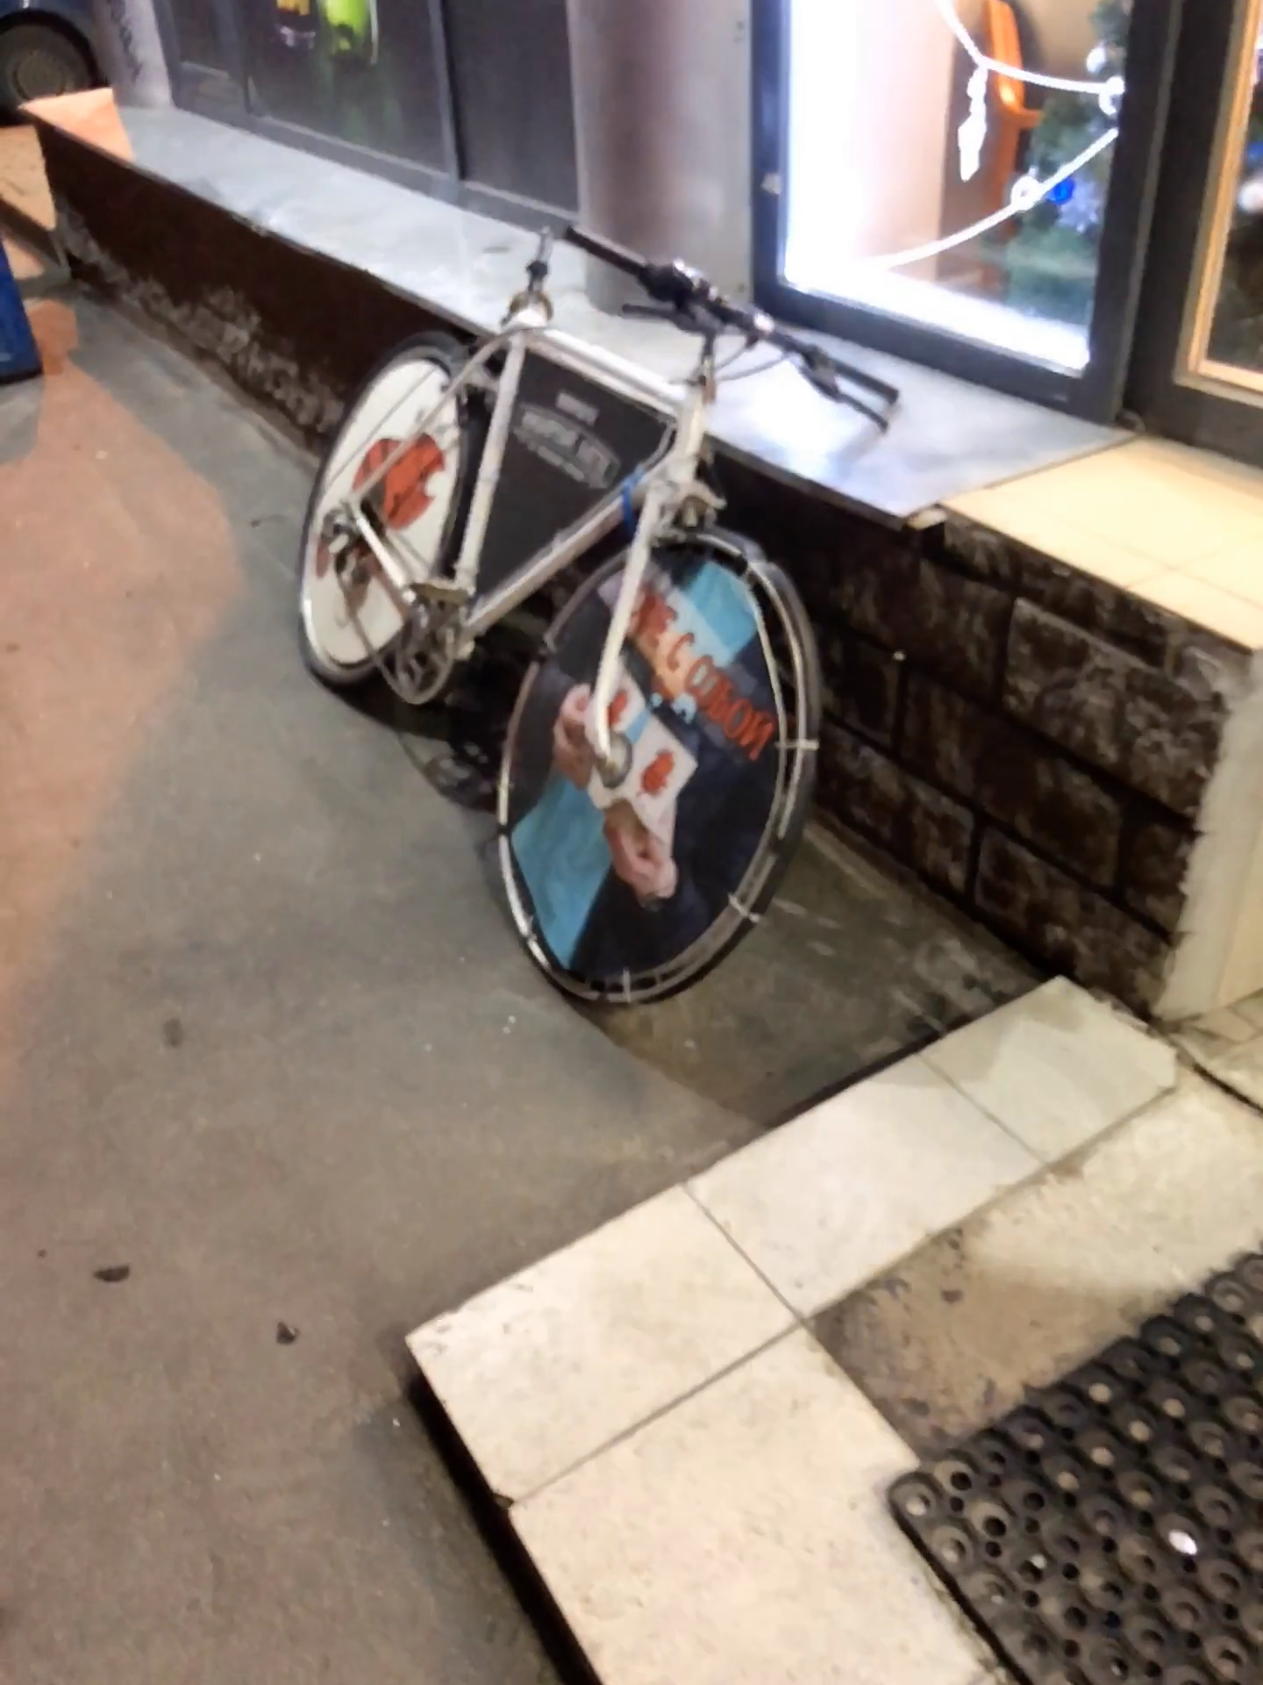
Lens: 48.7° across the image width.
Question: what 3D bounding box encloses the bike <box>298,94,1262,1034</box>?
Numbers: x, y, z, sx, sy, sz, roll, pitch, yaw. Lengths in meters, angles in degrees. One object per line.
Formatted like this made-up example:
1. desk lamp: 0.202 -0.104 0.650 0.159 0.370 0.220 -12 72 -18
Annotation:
1. bike: 0.085 -0.580 2.193 0.570 0.916 1.592 -19 37 -22
